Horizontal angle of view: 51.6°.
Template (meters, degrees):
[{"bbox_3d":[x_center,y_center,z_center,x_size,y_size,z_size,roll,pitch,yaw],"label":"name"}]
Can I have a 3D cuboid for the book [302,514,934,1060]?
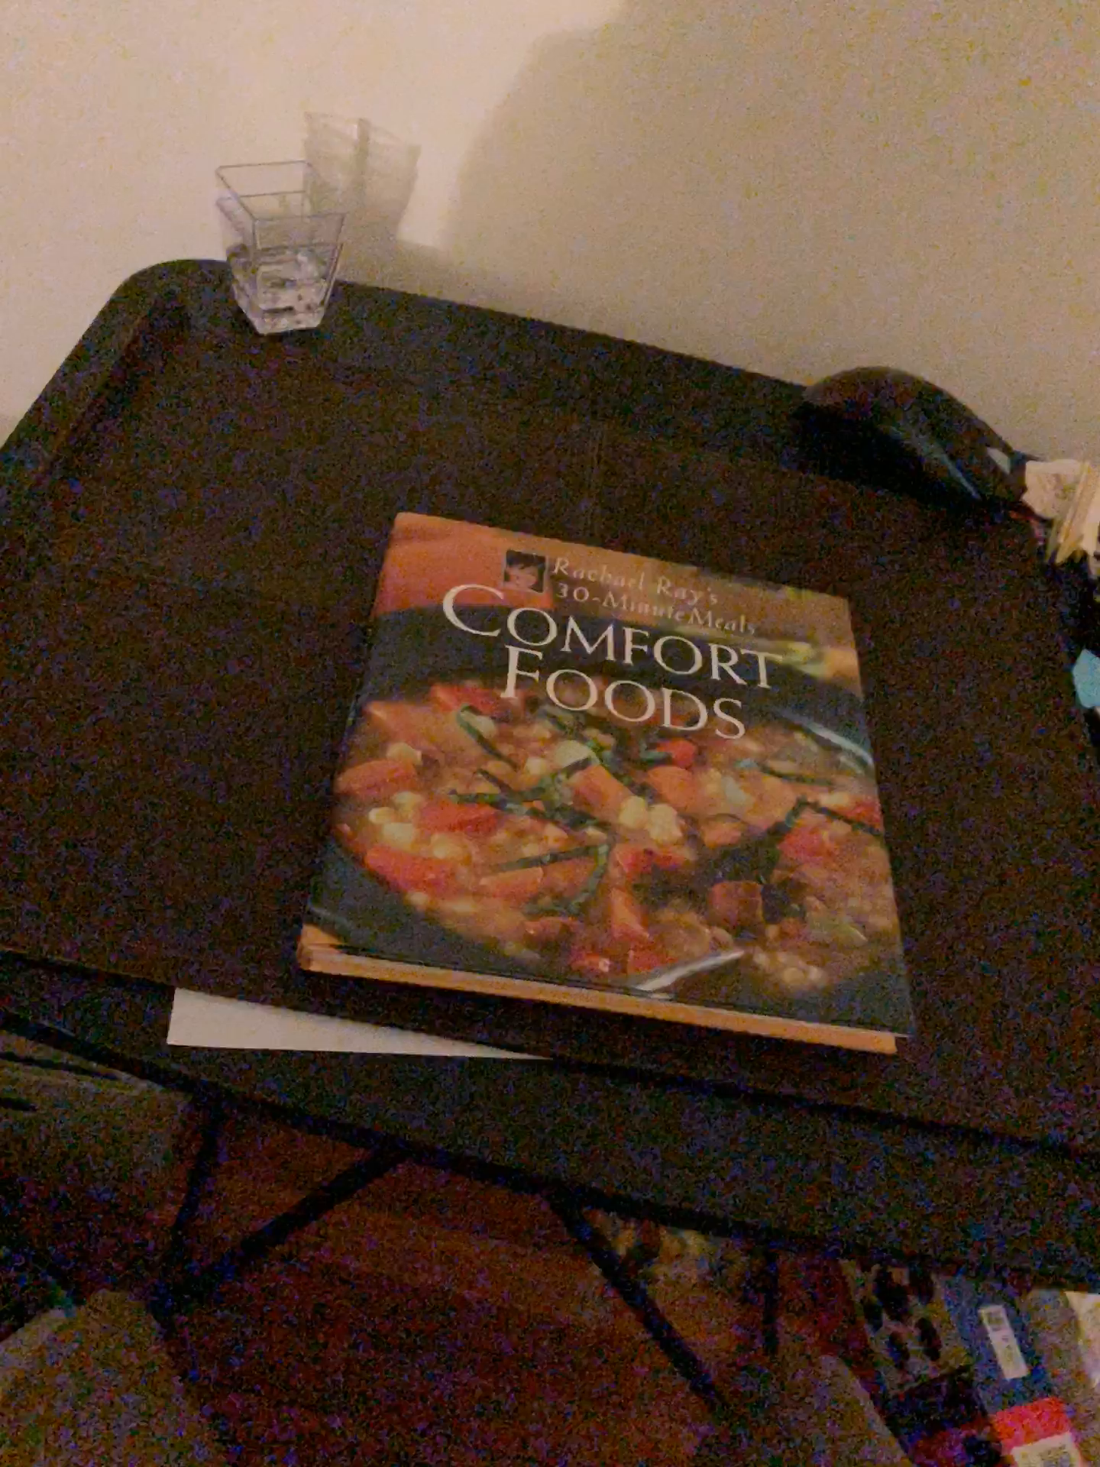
[{"bbox_3d":[0.027,0.009,0.422,0.200,0.020,0.201,9,50,-7],"label":"book"}]
